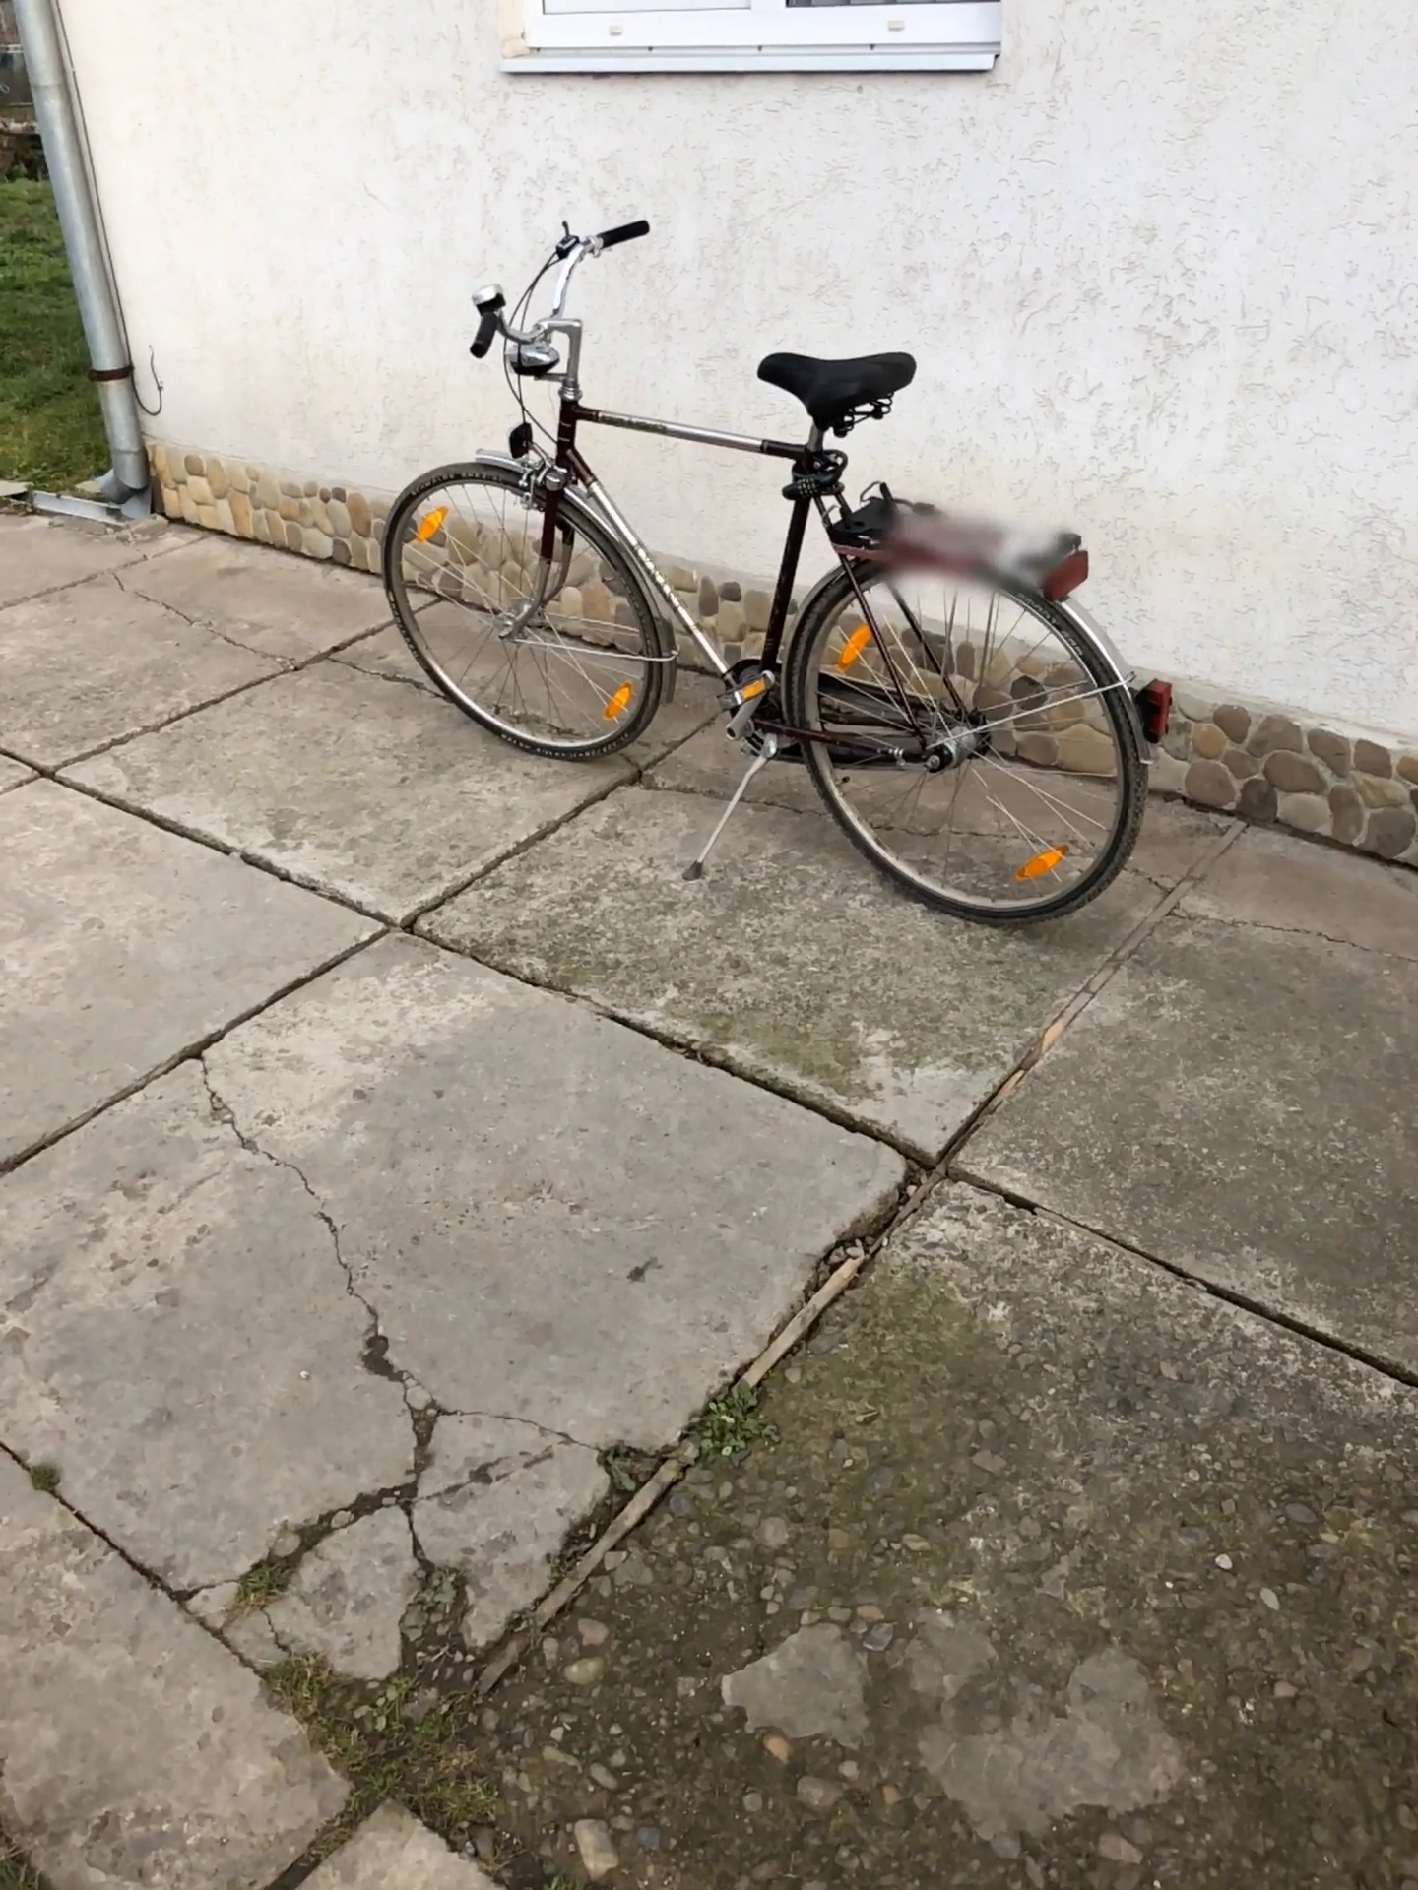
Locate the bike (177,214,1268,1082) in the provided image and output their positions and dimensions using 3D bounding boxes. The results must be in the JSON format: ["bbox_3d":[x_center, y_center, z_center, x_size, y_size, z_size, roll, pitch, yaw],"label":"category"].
[{"bbox_3d":[-0.060,-0.631,2.740,1.713,1.054,0.599,22,38,33],"label":"bike"}]
